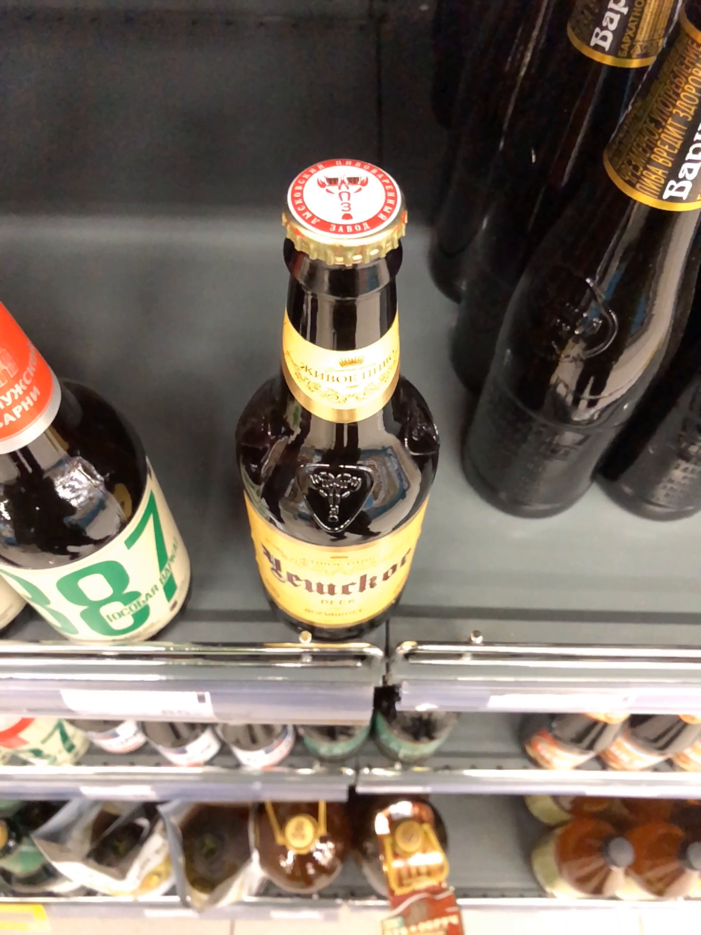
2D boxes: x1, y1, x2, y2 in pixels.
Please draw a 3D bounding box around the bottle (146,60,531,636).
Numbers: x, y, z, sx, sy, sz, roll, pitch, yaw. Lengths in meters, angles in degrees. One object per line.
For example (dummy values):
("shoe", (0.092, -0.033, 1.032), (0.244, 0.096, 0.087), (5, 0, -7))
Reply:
("bottle", (-0.006, -0.013, 0.287), (0.080, 0.239, 0.080), (1, 62, -1))
